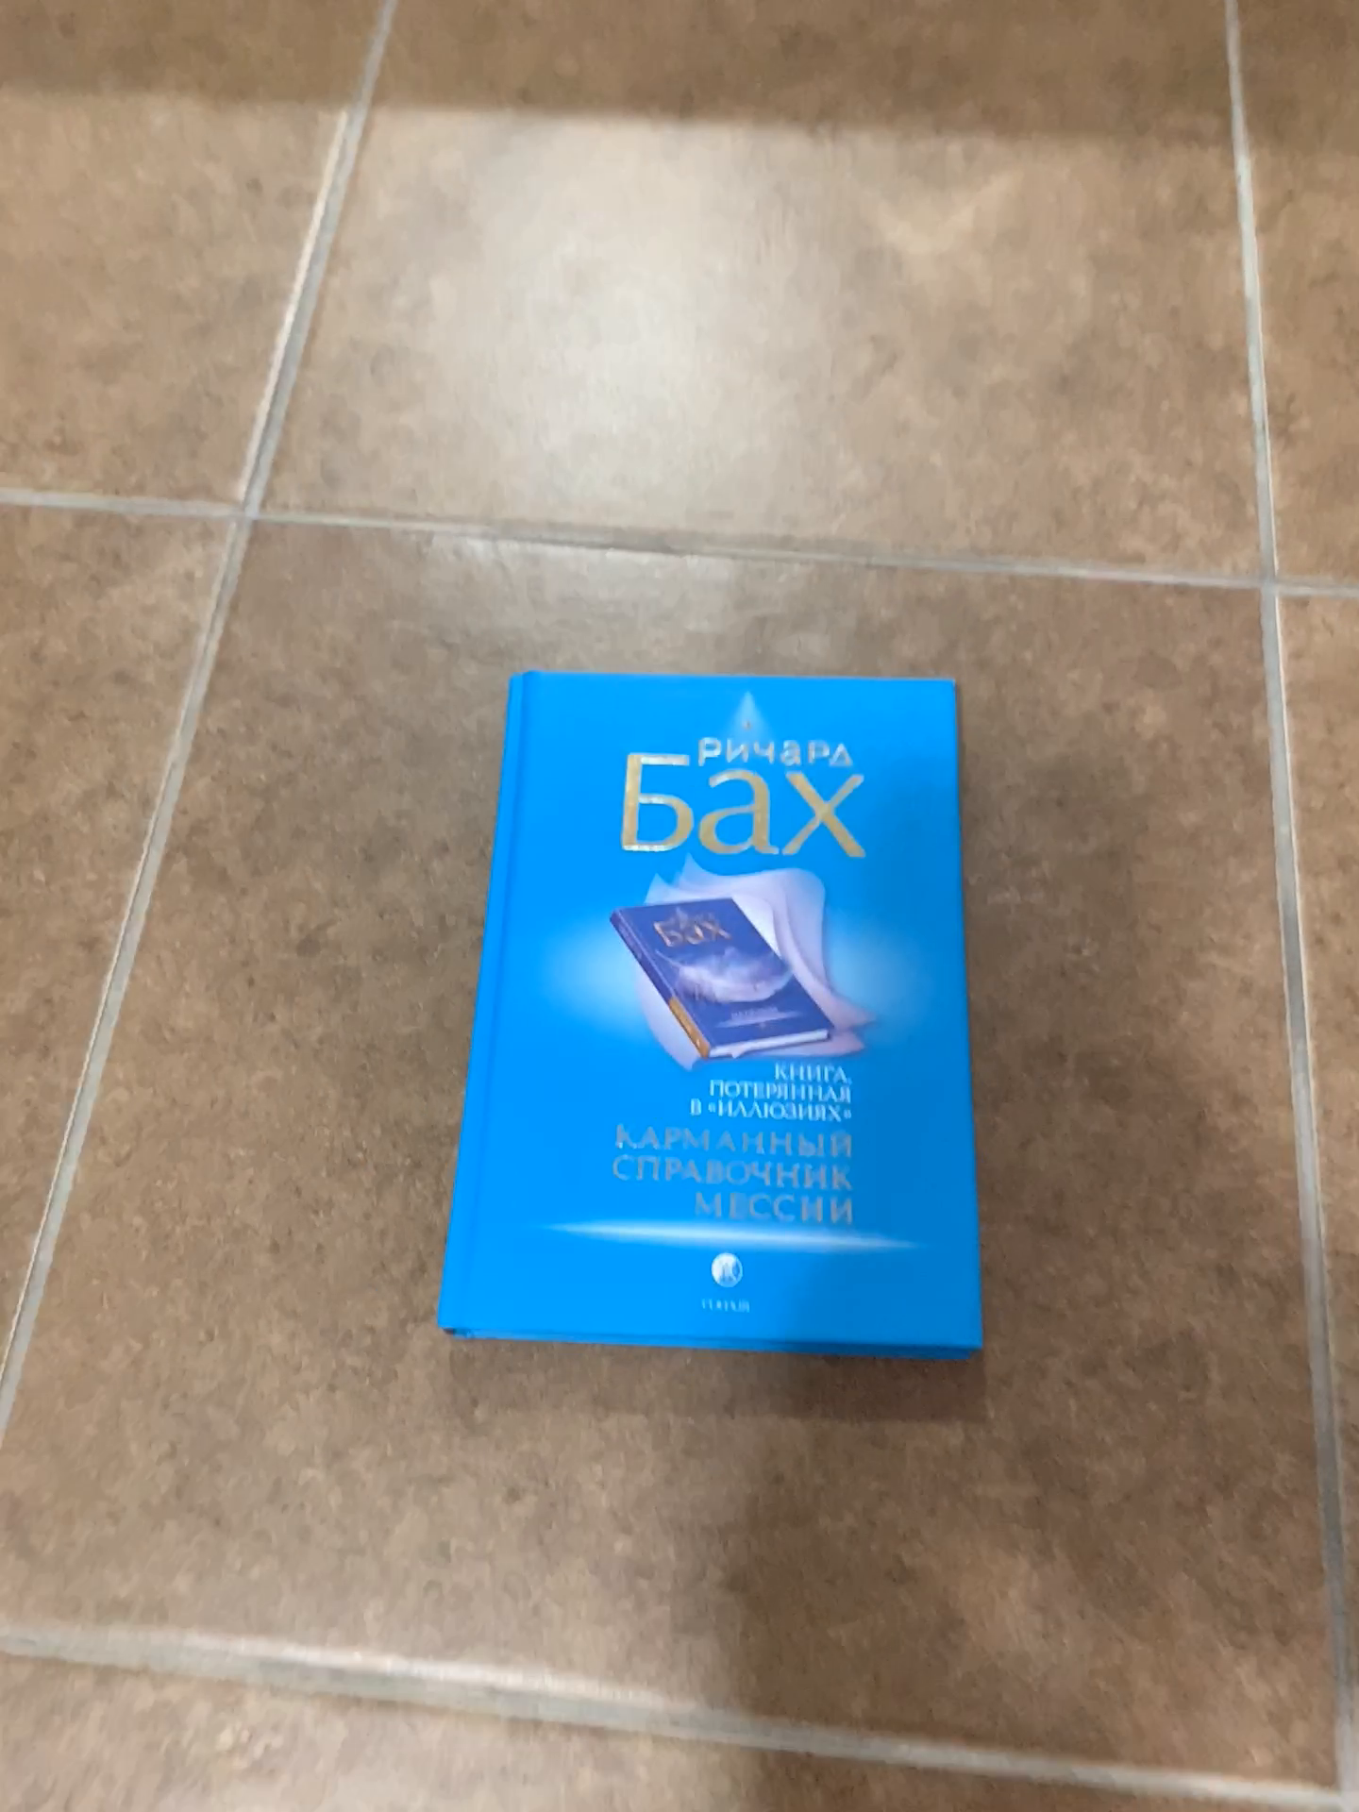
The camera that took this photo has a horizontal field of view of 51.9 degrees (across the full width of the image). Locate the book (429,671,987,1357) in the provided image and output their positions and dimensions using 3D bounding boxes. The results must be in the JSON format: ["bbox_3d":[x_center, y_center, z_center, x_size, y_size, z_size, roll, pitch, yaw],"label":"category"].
[{"bbox_3d":[0.010,0.019,0.345,0.122,0.015,0.169,2,67,3],"label":"book"}]
